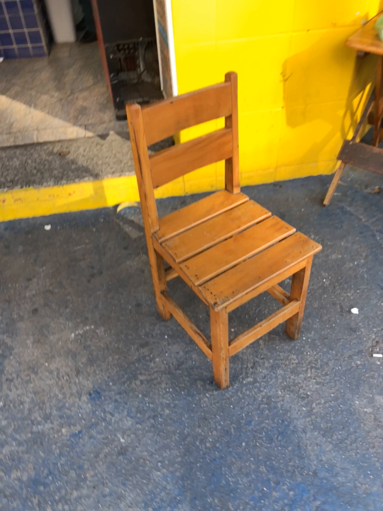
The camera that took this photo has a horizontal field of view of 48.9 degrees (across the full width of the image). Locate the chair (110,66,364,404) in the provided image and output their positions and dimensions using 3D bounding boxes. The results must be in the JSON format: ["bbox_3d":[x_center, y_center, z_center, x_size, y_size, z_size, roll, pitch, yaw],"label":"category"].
[{"bbox_3d":[0.106,-0.041,1.251,0.401,0.804,0.442,-27,47,-24],"label":"chair"}]
